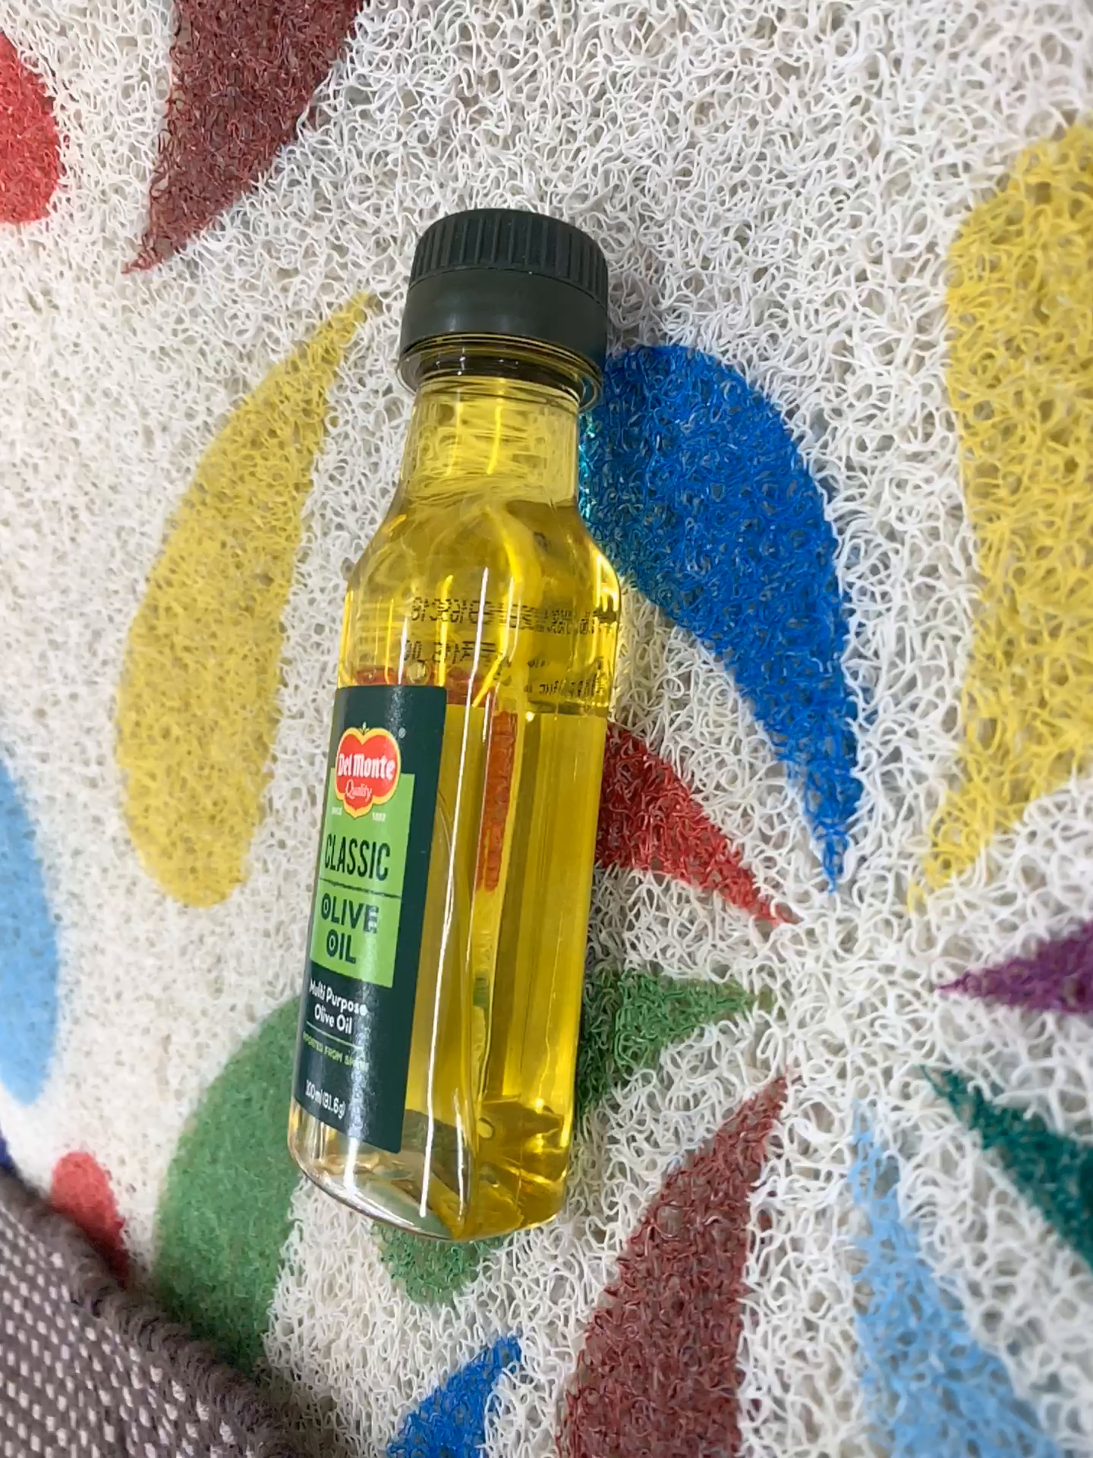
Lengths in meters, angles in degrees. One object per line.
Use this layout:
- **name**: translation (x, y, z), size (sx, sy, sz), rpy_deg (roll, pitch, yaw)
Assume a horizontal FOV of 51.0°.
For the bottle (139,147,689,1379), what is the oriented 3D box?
- **bottle**: translation (-0.018, 0.003, 0.152), size (0.050, 0.040, 0.130), rpy_deg (5, 91, 40)
